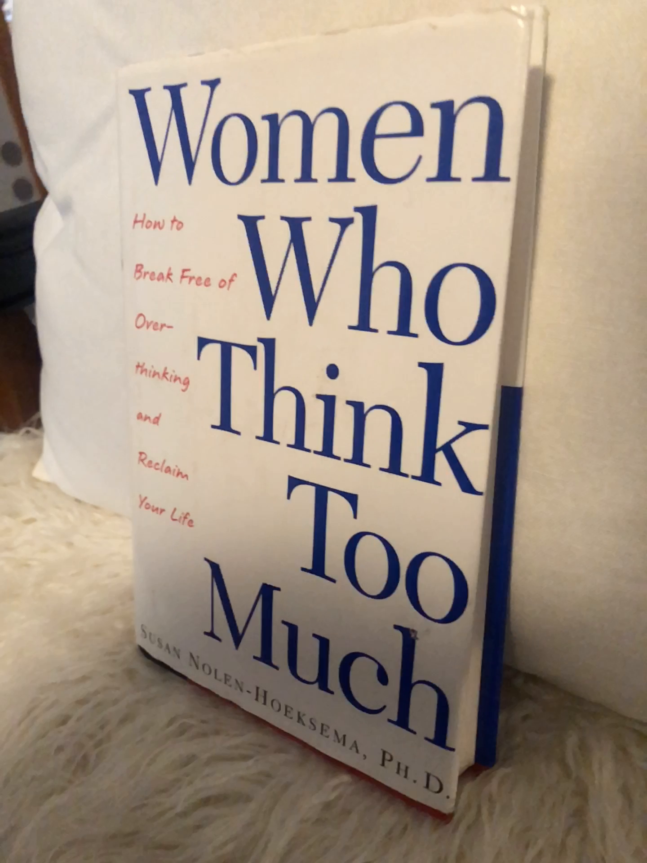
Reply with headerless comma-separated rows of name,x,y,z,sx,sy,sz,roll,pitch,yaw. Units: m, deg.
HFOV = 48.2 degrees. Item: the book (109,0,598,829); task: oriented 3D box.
book,-0.008,-0.010,0.265,0.166,0.241,0.040,13,16,34
